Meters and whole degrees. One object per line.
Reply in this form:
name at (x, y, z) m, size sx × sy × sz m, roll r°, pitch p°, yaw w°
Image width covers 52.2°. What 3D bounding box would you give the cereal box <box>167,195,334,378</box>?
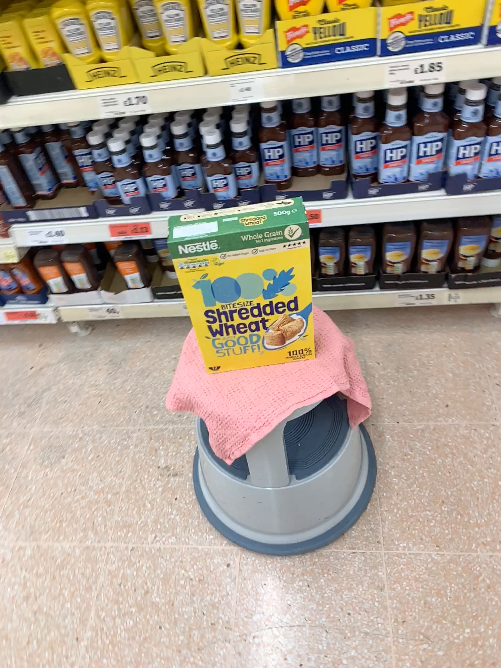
cereal box at (0.014, -0.057, 0.780) m, size 0.210 × 0.278 × 0.071 m, roll -7°, pitch 47°, yaw 4°
